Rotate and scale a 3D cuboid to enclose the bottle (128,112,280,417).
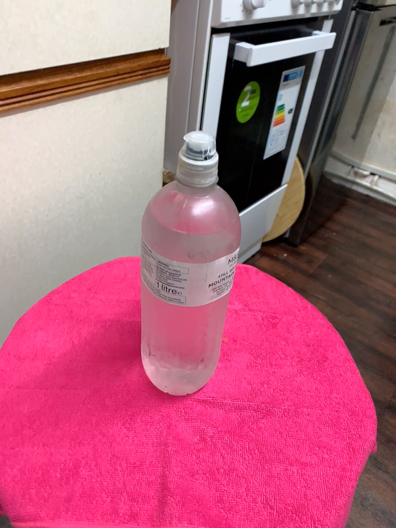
[{"bbox_3d":[-0.004,0.014,0.367,0.080,0.257,0.091,19,40,14],"label":"bottle"}]
